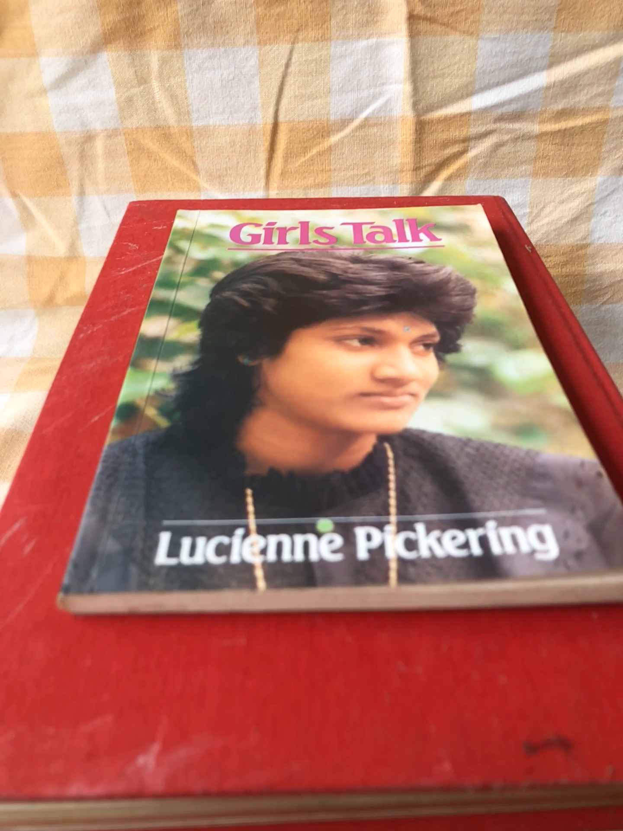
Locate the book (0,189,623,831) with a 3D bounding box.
[{"bbox_3d":[0.008,-0.007,0.223,0.174,0.031,0.250,-2,40,-1],"label":"book"}]

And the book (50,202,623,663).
[{"bbox_3d":[0.009,-0.015,0.219,0.130,0.025,0.183,-1,42,-1],"label":"book"}]
